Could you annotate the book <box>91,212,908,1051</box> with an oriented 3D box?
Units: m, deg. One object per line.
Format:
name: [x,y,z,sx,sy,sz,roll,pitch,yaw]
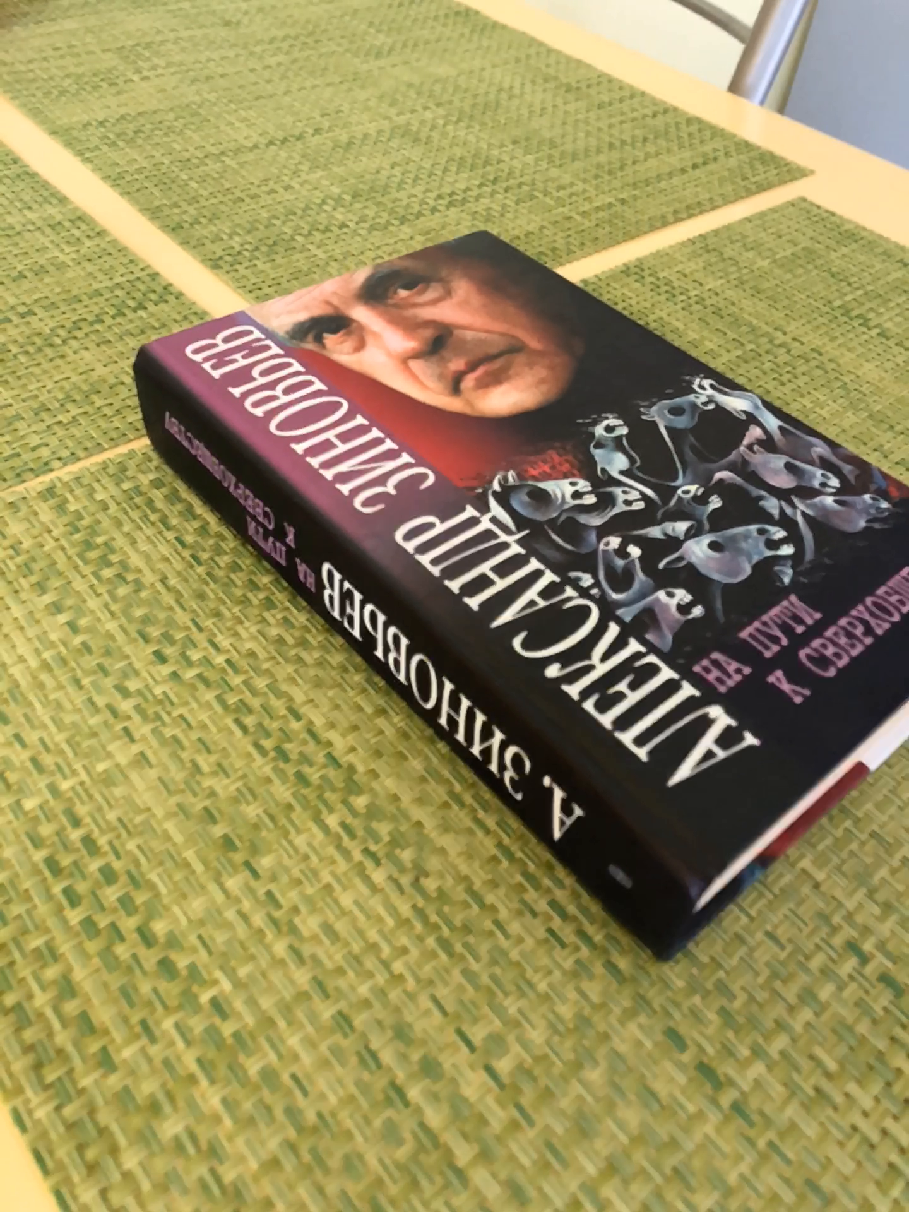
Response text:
book: [0.029,-0.023,0.256,0.151,0.040,0.201,-30,56,-30]
